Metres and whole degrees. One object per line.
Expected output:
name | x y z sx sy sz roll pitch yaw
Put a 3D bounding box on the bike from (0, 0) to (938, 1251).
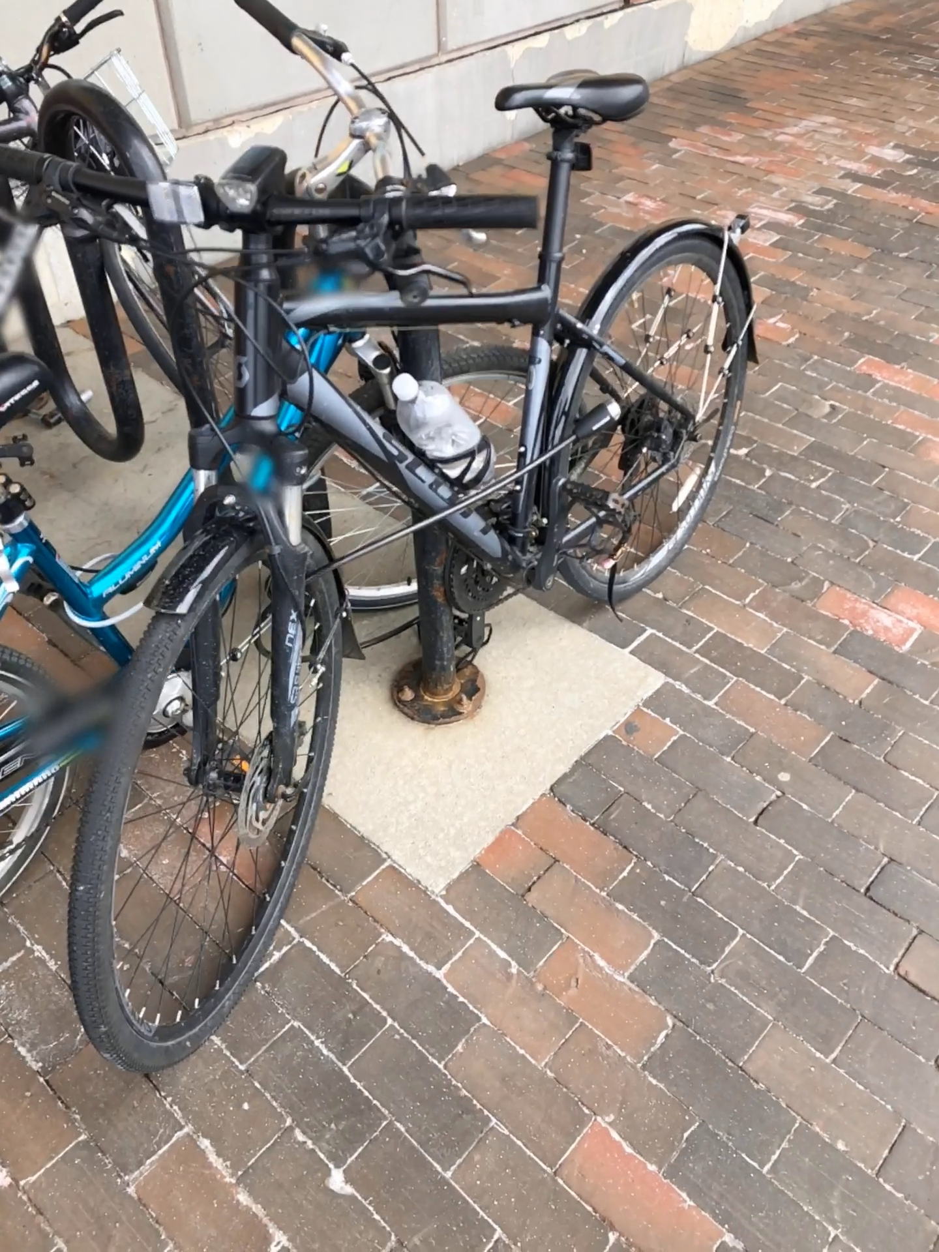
bike | -0.027 -0.179 1.384 0.673 0.939 1.517 25 51 25
